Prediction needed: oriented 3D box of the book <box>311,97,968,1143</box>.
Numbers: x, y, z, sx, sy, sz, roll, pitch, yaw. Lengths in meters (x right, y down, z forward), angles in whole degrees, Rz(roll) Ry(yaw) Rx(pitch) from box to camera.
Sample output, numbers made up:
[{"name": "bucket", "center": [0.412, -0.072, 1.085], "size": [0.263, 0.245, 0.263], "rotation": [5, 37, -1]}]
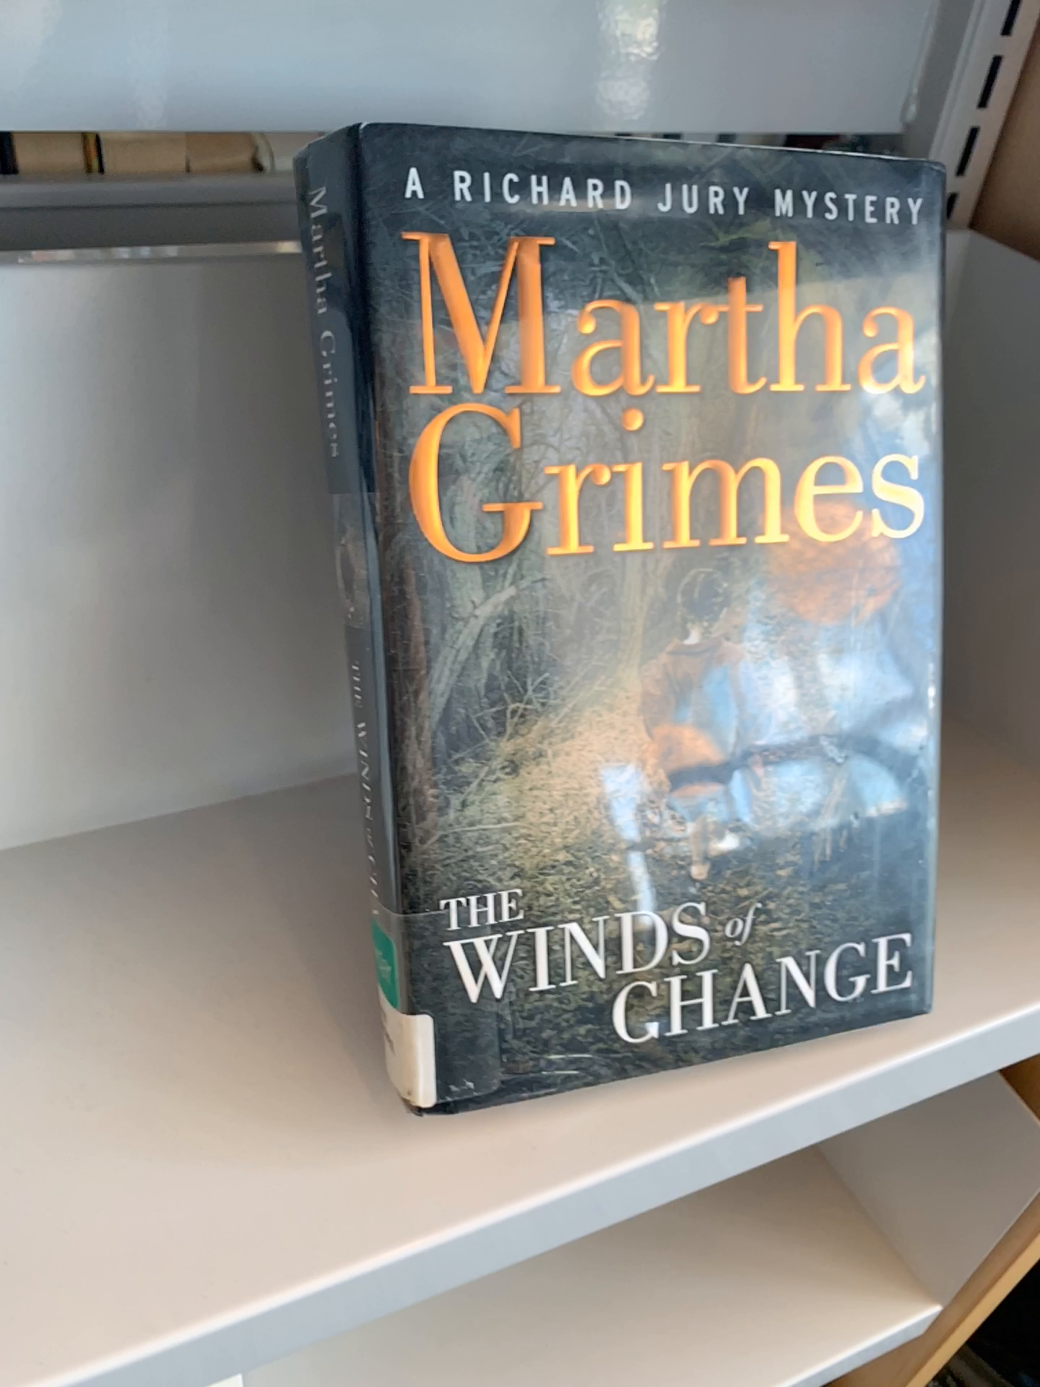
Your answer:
[{"name": "book", "center": [0.037, -0.019, 0.297], "size": [0.160, 0.244, 0.050], "rotation": [-6, 10, -16]}]
